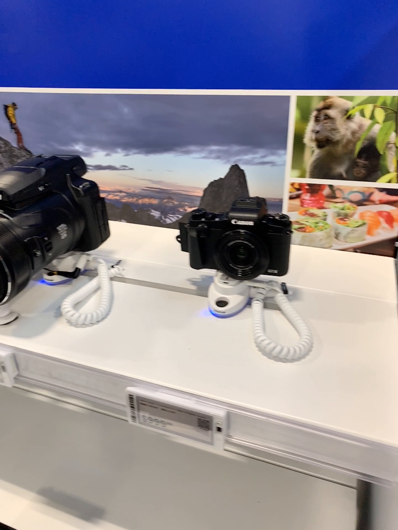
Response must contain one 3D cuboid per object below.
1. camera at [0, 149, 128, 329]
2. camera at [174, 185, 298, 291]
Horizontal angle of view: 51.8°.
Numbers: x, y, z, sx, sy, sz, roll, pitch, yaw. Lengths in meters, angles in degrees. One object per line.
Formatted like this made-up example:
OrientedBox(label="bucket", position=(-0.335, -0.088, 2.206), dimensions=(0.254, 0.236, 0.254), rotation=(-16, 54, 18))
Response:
OrientedBox(label="camera", position=(-0.208, -0.049, 0.462), dimensions=(0.160, 0.109, 0.221), rotation=(8, 28, 17))
OrientedBox(label="camera", position=(0.041, -0.032, 0.448), dimensions=(0.120, 0.089, 0.060), rotation=(6, 27, 14))
